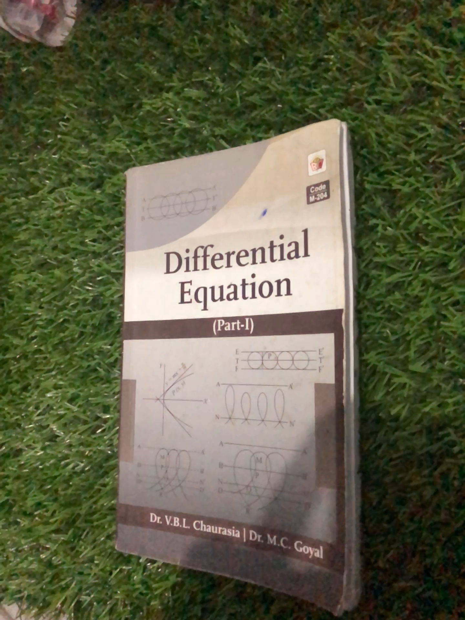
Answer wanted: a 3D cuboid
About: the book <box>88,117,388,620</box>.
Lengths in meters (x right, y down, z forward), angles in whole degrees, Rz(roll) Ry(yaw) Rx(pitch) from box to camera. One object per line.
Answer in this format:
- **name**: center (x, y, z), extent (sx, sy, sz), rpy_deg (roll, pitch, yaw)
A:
- **book**: center (-0.001, 0.023, 0.252), extent (0.140, 0.030, 0.200), rpy_deg (-3, 82, 27)
